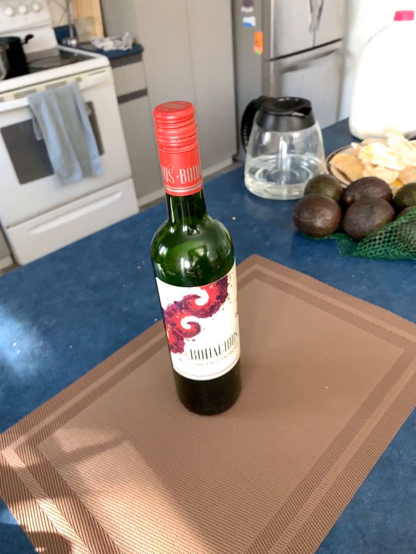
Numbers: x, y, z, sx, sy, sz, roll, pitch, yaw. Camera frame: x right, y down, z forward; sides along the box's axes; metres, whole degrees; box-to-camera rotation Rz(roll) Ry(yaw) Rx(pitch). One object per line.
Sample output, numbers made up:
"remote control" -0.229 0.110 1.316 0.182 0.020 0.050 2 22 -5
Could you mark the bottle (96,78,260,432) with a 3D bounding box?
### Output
"bottle" -0.012 0.000 0.378 0.080 0.297 0.081 -4 37 3
